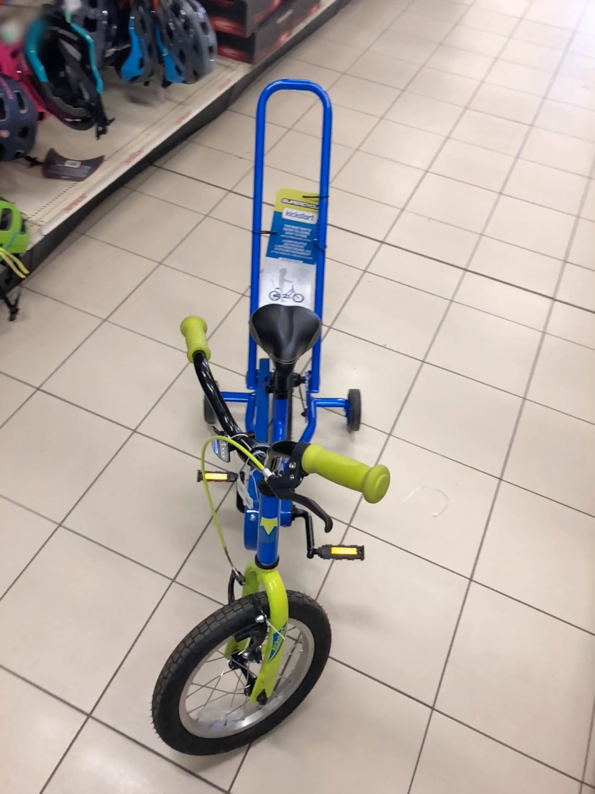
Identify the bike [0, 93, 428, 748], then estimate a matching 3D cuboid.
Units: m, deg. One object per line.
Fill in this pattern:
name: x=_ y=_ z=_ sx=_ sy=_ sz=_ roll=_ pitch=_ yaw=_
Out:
bike: x=-0.154 y=0.030 z=1.218 sx=0.538 sy=0.763 sz=0.957 roll=11 pitch=48 yaw=3
